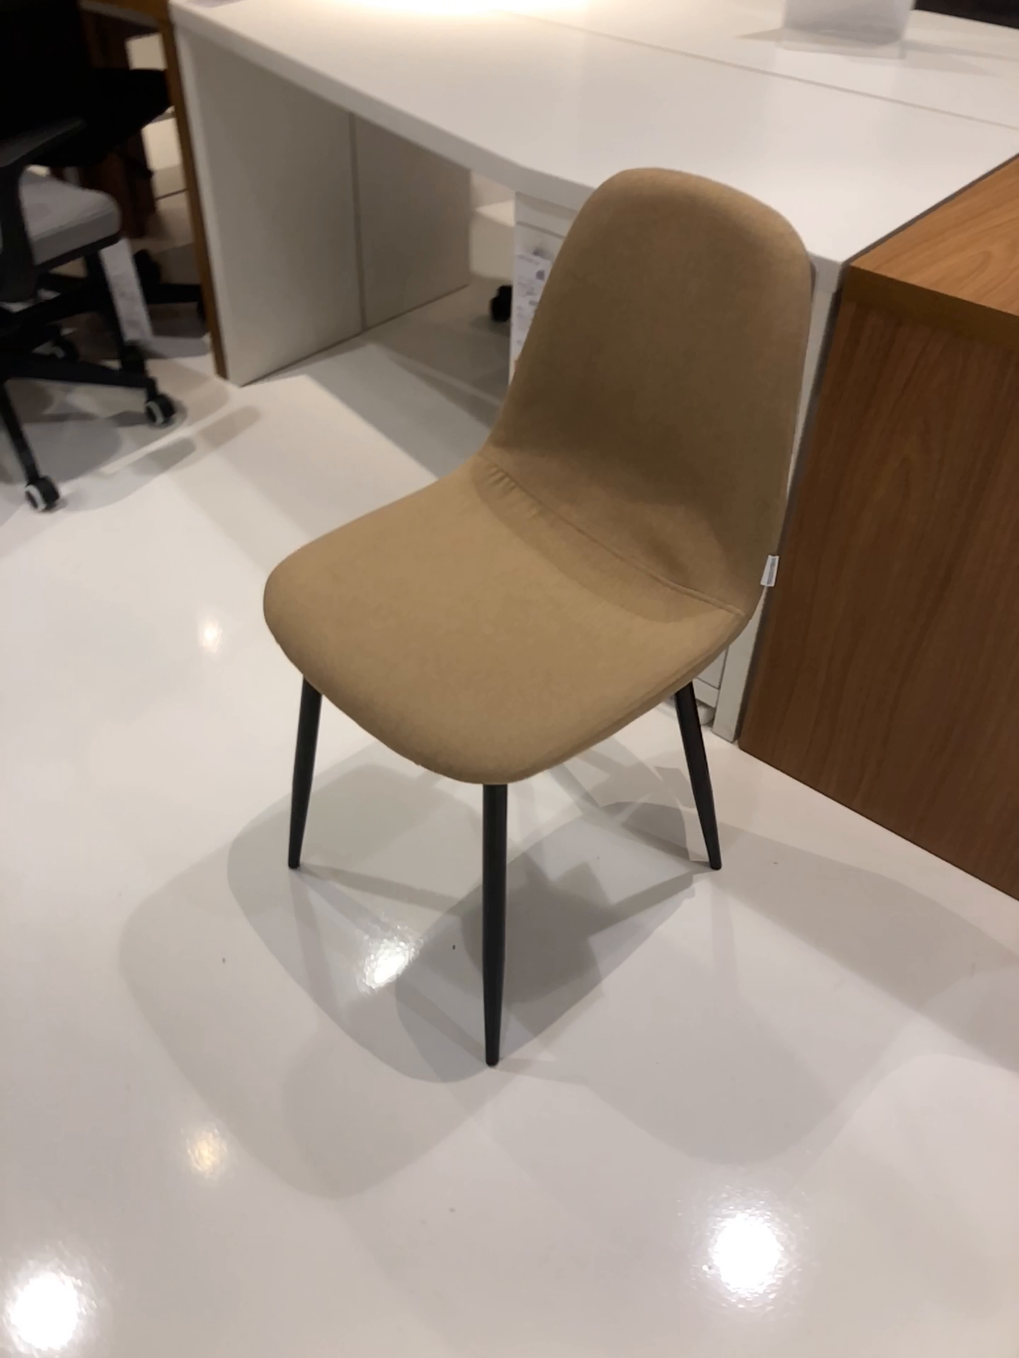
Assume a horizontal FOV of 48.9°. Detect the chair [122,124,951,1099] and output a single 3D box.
[{"bbox_3d":[0.017,-0.077,1.214,0.522,0.784,0.482,-31,51,-32],"label":"chair"}]
